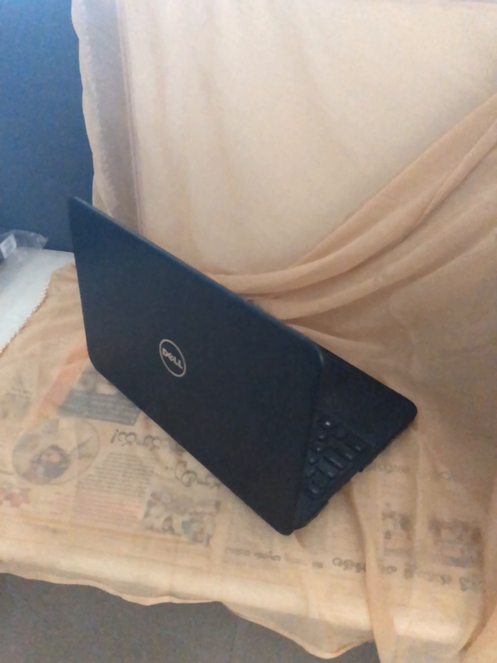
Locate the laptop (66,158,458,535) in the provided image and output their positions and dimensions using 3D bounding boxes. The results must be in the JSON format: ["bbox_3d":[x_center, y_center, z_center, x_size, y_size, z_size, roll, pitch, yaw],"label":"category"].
[{"bbox_3d":[0.005,-0.016,0.639,0.333,0.237,0.257,32,46,33],"label":"laptop"}]
